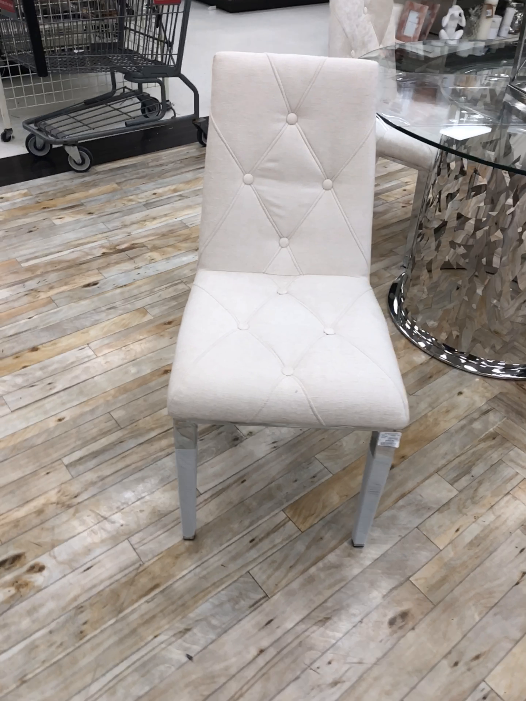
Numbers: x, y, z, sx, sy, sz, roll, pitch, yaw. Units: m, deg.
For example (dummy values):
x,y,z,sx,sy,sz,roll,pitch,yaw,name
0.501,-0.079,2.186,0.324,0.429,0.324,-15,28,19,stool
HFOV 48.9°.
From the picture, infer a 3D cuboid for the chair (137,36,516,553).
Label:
x,y,z,sx,sy,sz,roll,pitch,yaw,name
0.067,-0.087,1.220,0.470,0.886,0.572,4,40,0,chair
